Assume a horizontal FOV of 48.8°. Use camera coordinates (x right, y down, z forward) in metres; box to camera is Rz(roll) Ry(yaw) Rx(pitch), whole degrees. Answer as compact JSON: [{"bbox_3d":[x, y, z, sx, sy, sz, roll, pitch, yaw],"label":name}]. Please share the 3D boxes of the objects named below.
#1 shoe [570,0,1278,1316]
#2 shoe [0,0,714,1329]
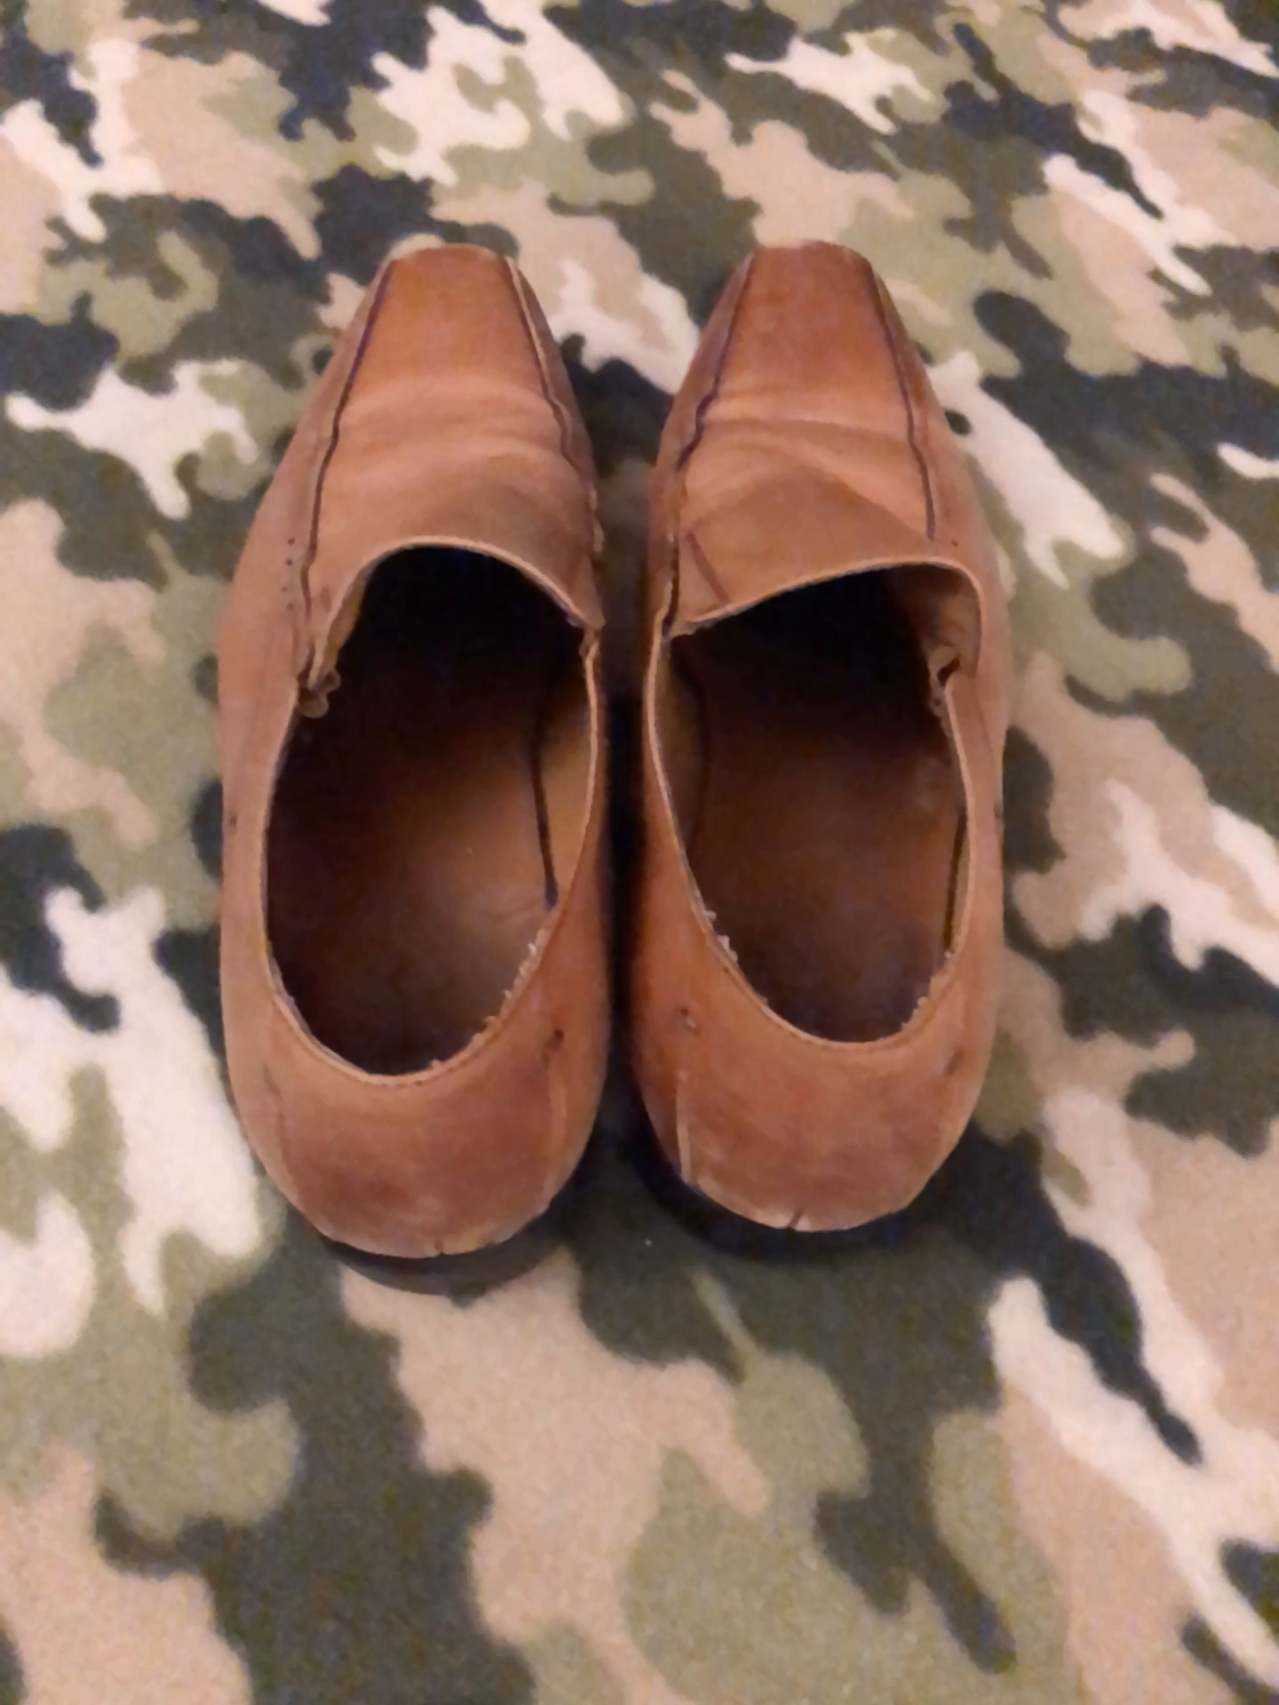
[{"bbox_3d":[0.051,-0.068,0.349,0.110,0.119,0.321,4,58,-1],"label":"shoe"},{"bbox_3d":[-0.054,-0.067,0.337,0.110,0.119,0.321,-1,58,-4],"label":"shoe"}]
